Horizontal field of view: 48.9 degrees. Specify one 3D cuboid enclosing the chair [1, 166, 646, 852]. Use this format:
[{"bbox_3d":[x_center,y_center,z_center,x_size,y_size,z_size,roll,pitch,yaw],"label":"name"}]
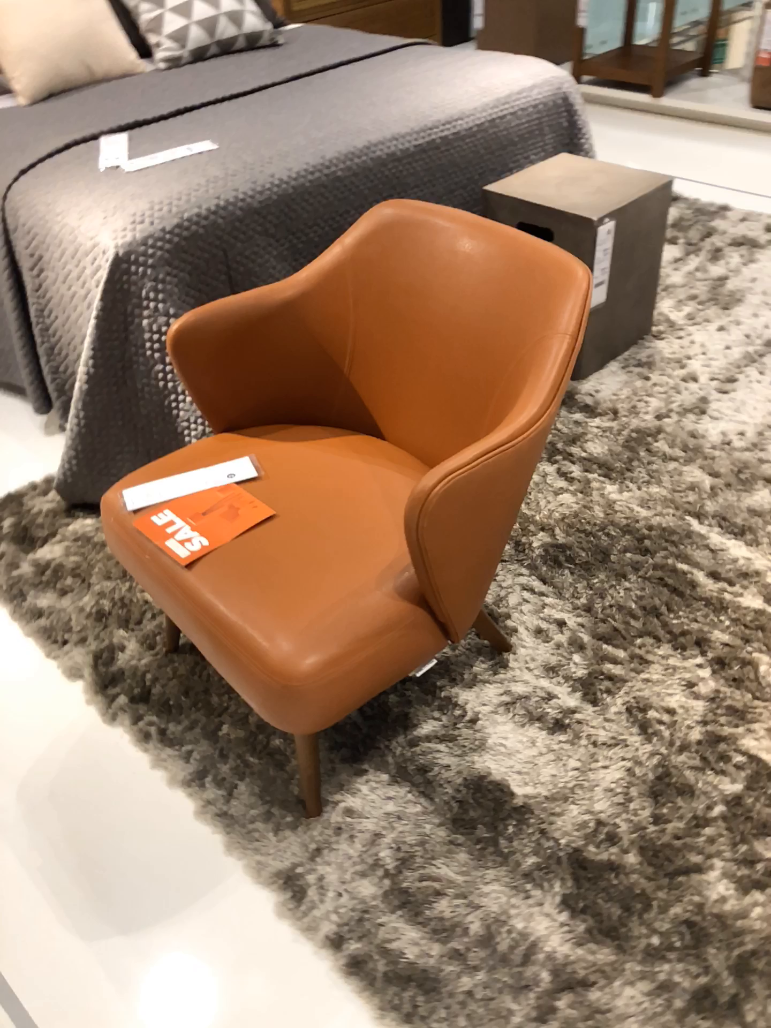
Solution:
[{"bbox_3d":[-0.076,-0.053,1.367,0.652,0.704,0.593,-30,46,-28],"label":"chair"}]
